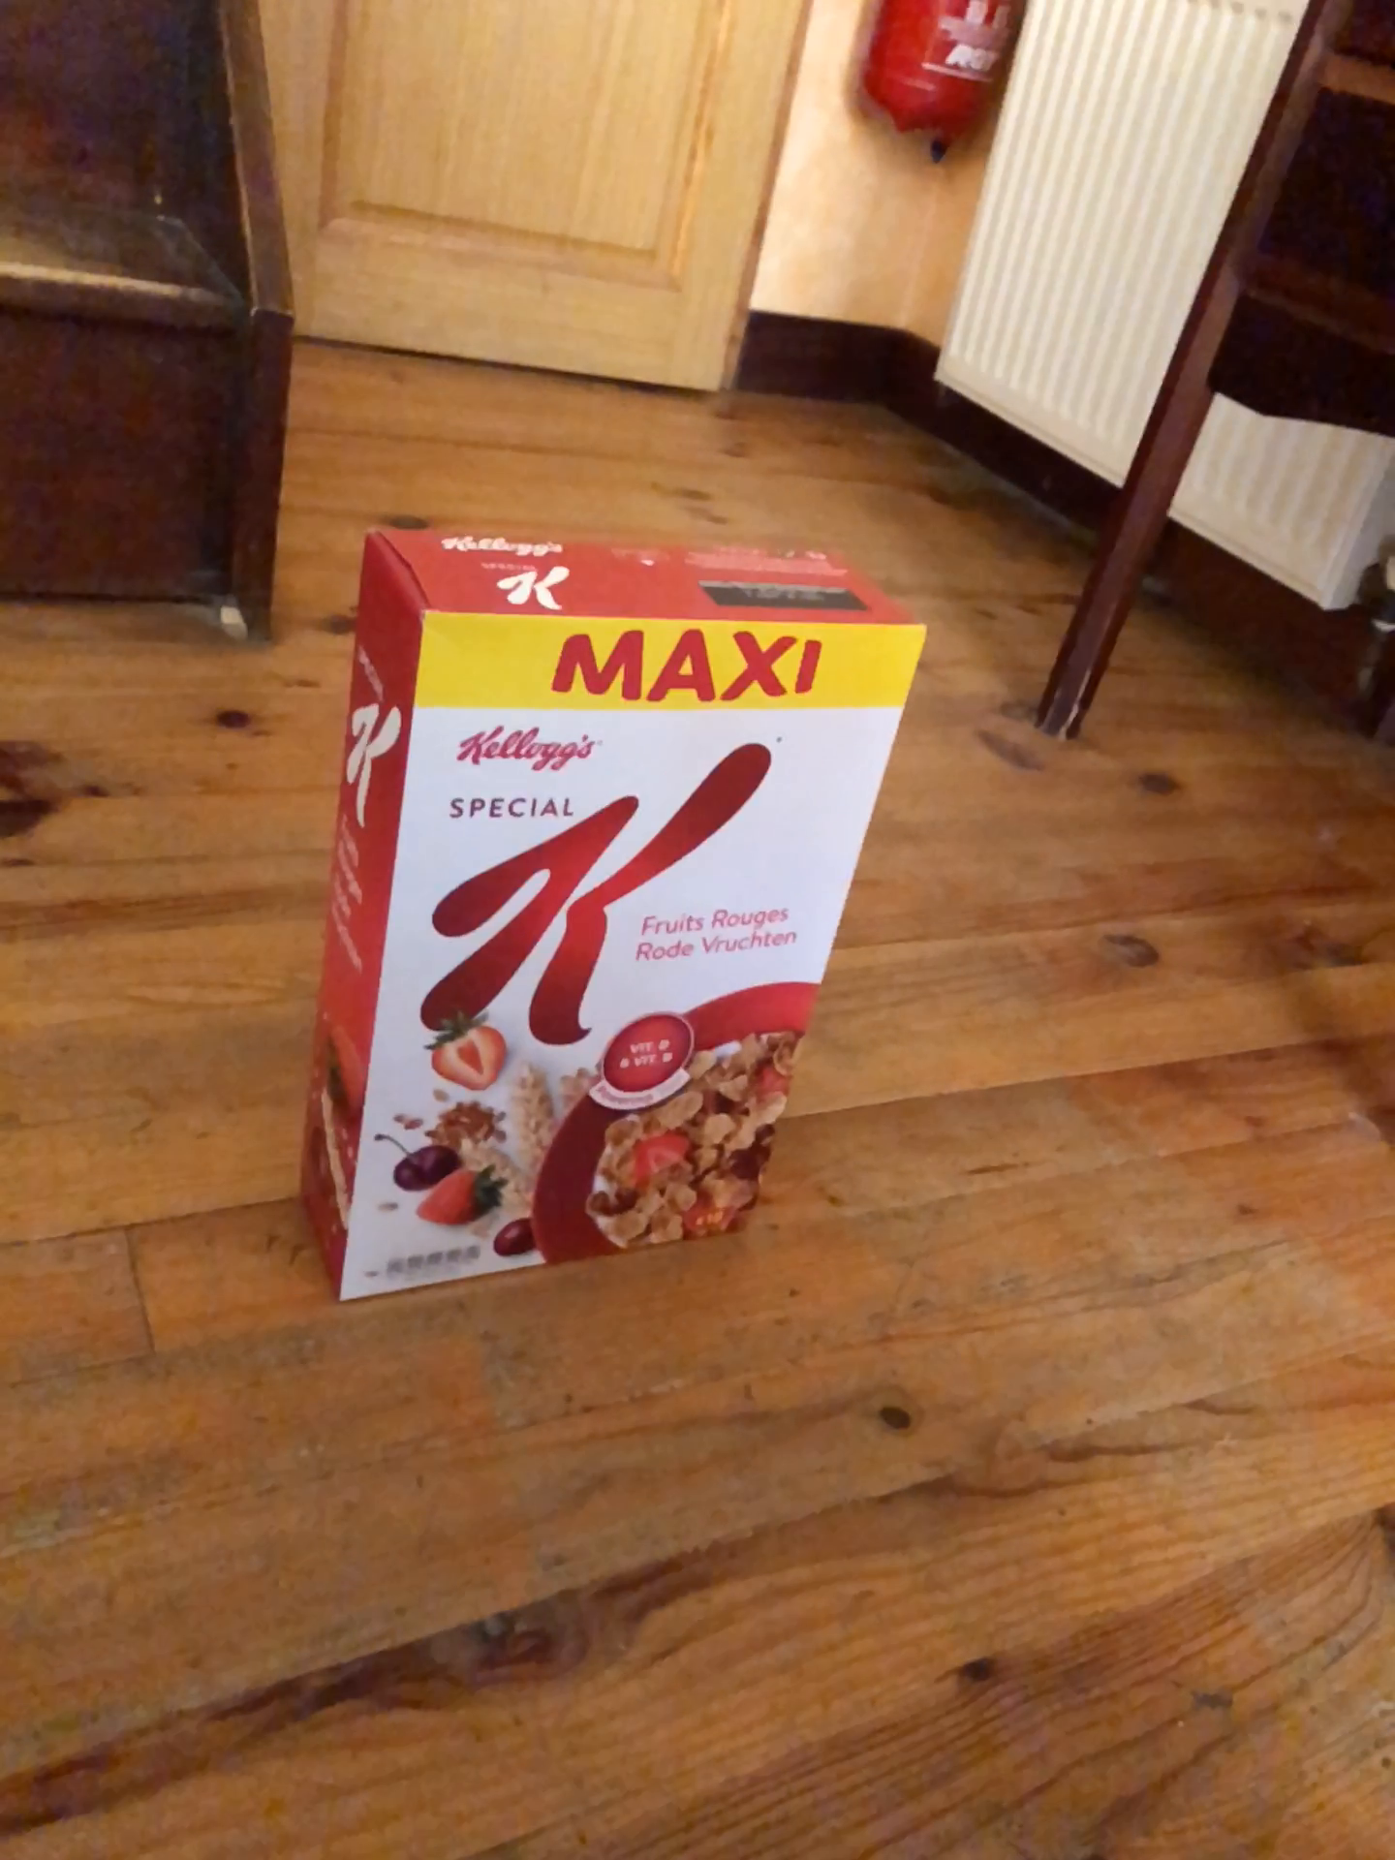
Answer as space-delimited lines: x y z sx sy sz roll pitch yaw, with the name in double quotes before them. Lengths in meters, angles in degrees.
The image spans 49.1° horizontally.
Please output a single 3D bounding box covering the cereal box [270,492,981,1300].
"cereal box" -0.041 -0.008 0.601 0.211 0.288 0.090 -4 35 -28
